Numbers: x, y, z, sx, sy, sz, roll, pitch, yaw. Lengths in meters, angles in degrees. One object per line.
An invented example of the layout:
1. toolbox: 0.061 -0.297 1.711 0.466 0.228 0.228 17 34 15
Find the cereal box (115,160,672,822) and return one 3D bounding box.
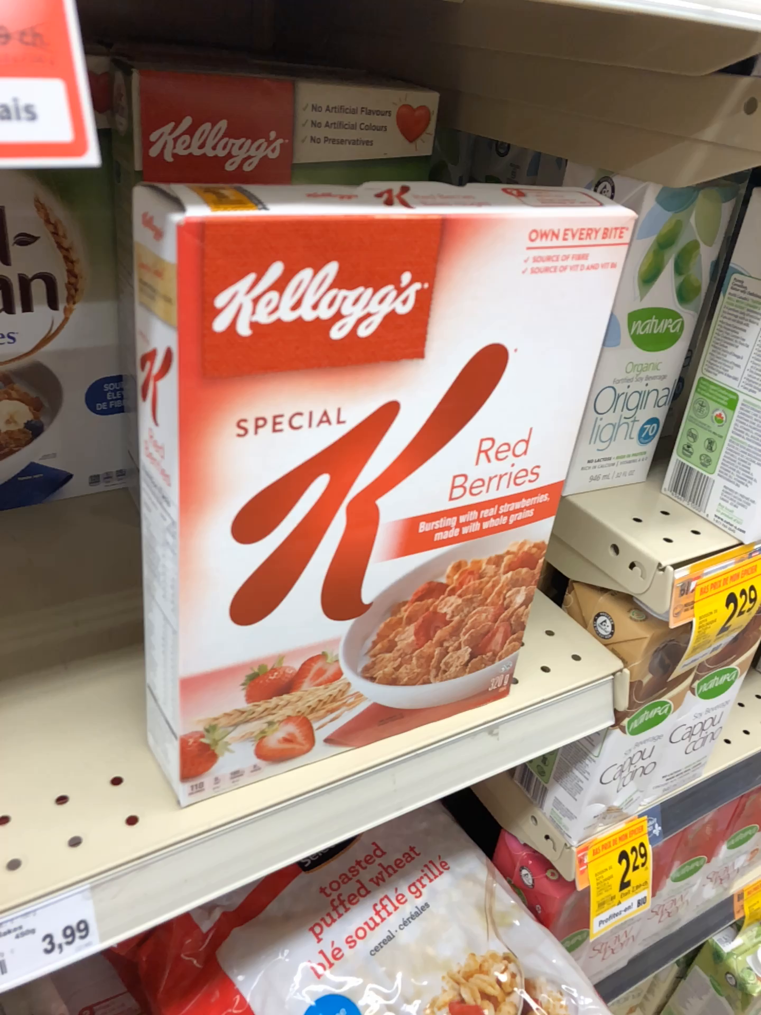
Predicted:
1. cereal box: -0.003 -0.004 0.387 0.210 0.278 0.060 -11 37 -29
